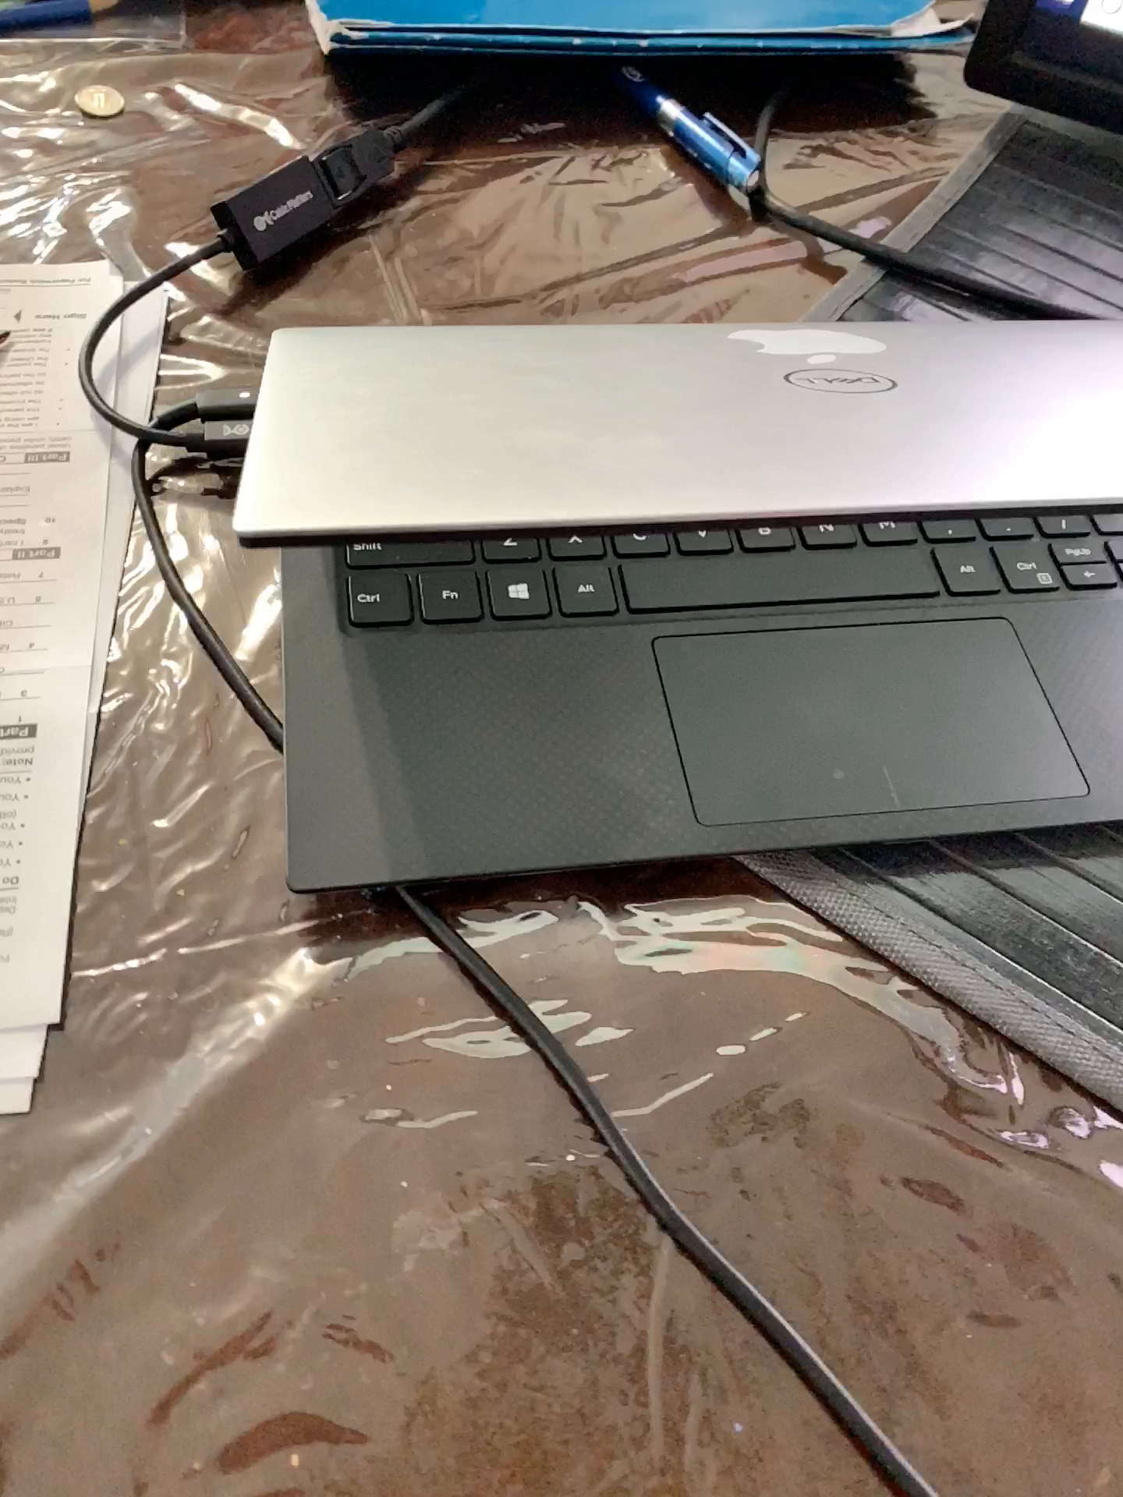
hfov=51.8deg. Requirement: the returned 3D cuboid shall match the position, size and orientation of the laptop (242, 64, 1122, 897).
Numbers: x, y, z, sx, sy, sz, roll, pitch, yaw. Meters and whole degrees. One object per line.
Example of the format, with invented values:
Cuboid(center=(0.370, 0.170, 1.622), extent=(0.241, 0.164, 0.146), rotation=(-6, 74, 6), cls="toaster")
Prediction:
Cuboid(center=(0.074, -0.078, 0.293), extent=(0.290, 0.081, 0.183), rotation=(-4, 57, -10), cls="laptop")
